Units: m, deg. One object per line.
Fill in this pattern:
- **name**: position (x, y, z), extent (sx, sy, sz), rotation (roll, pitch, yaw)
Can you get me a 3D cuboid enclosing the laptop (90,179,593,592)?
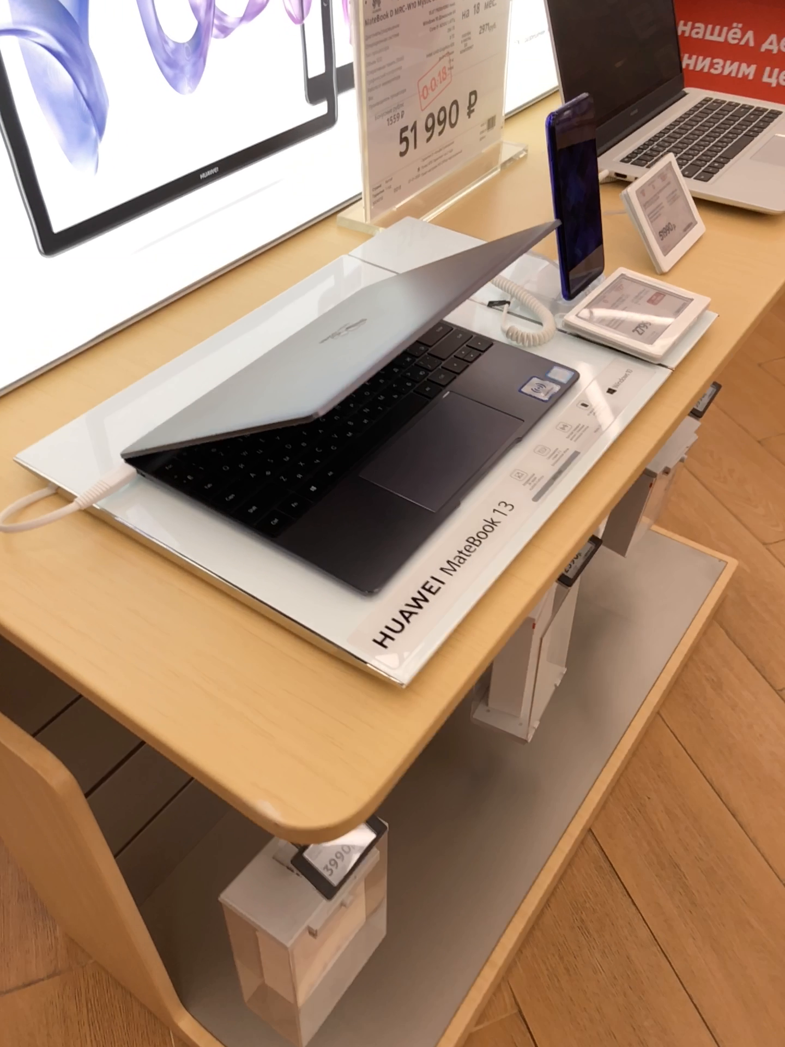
- **laptop**: position (-0.020, -0.116, 0.585), extent (0.204, 0.106, 0.272), rotation (26, 48, 24)
